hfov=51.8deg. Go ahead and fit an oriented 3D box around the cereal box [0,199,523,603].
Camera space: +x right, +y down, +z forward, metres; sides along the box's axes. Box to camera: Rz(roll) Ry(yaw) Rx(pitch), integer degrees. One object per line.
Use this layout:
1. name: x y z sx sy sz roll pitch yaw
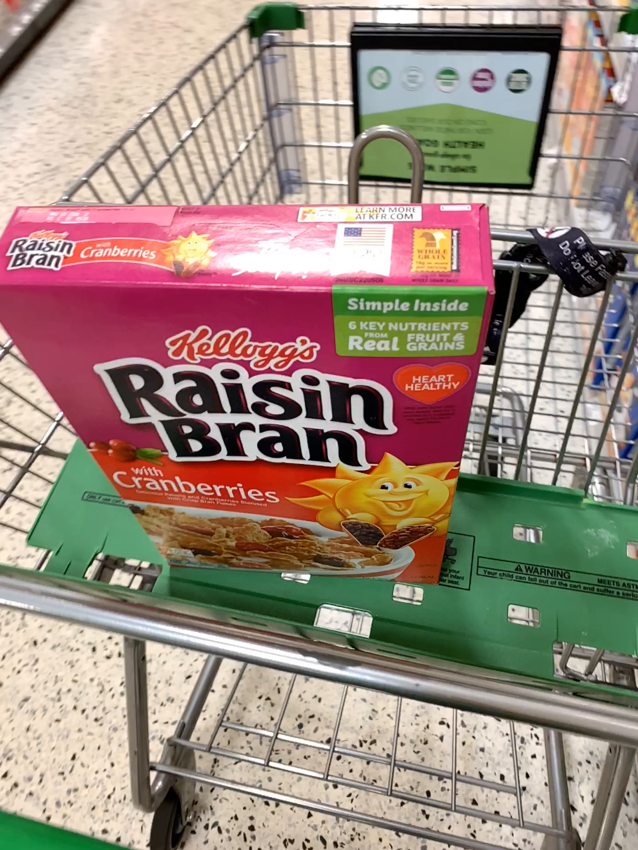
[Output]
1. cereal box: -0.019 0.020 0.389 0.210 0.327 0.050 3 57 7
